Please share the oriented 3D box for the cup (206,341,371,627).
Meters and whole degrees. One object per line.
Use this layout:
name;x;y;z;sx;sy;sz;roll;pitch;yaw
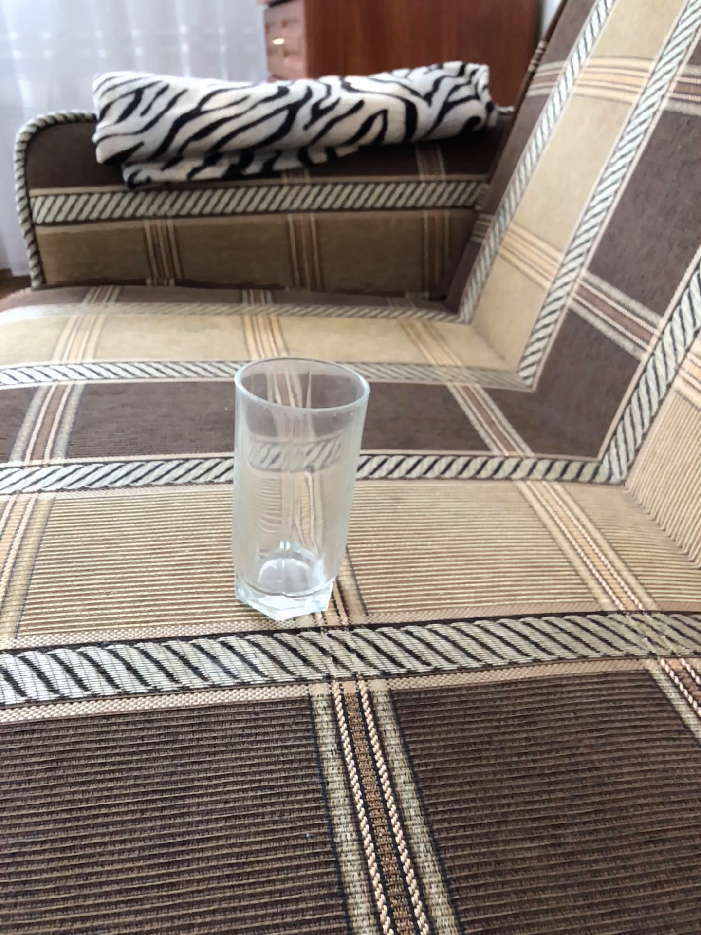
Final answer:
cup;-0.034;0.009;0.431;0.075;0.130;0.077;5;29;-3
